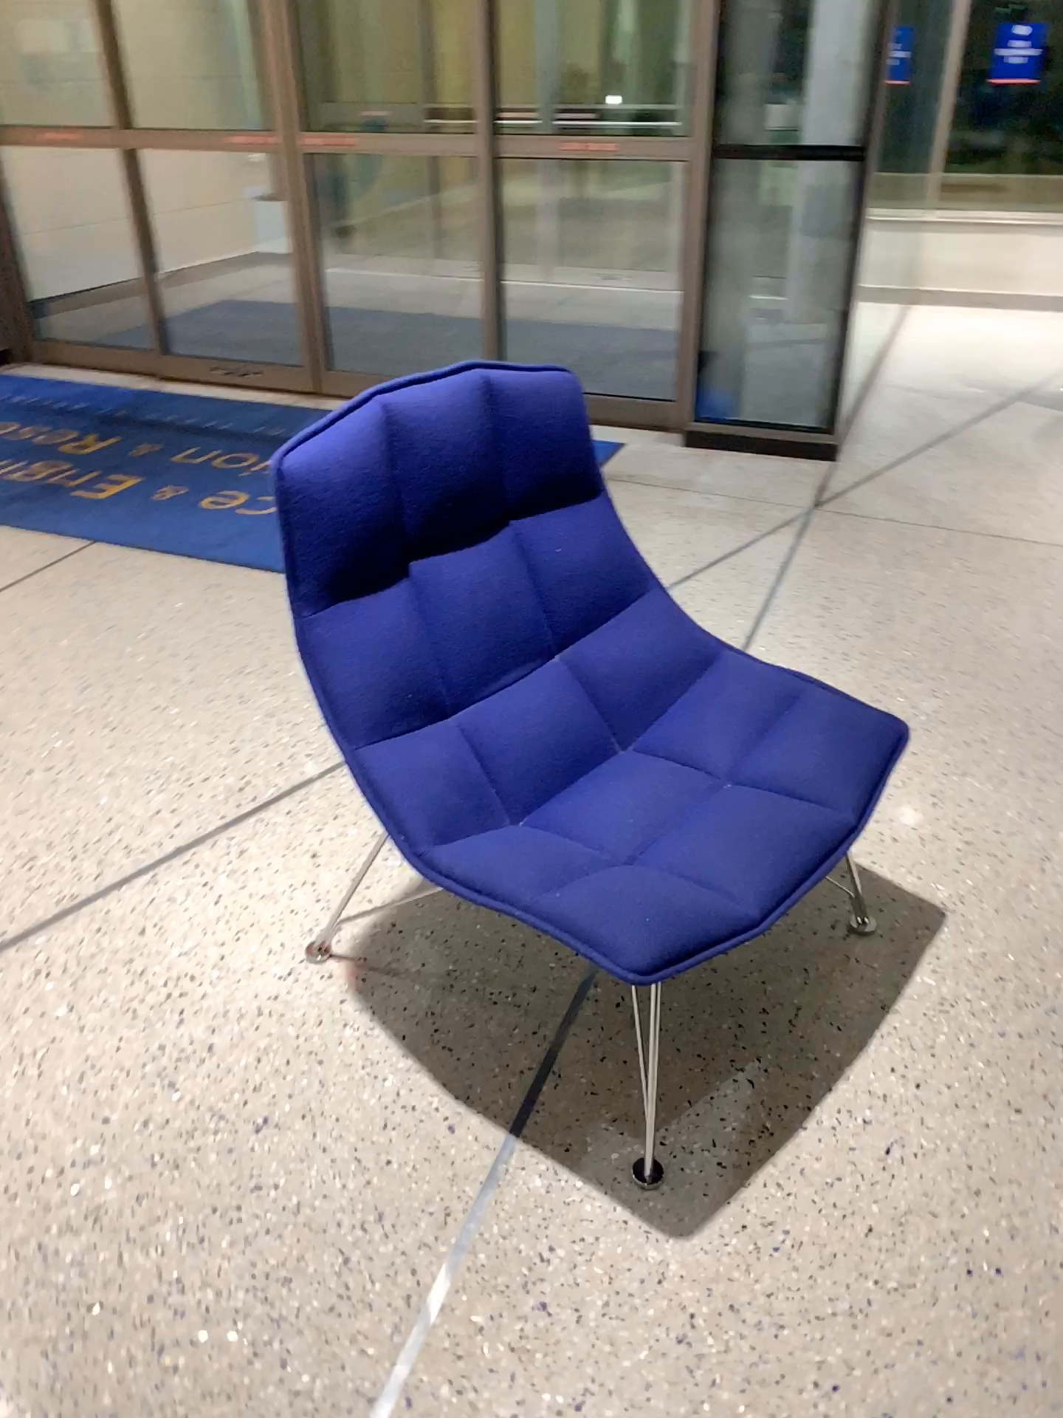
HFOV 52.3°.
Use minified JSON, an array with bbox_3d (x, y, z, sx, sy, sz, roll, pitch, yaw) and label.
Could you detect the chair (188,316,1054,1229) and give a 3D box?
[{"bbox_3d":[0.142,-0.021,1.666,0.797,0.893,0.859,24,38,35],"label":"chair"}]
